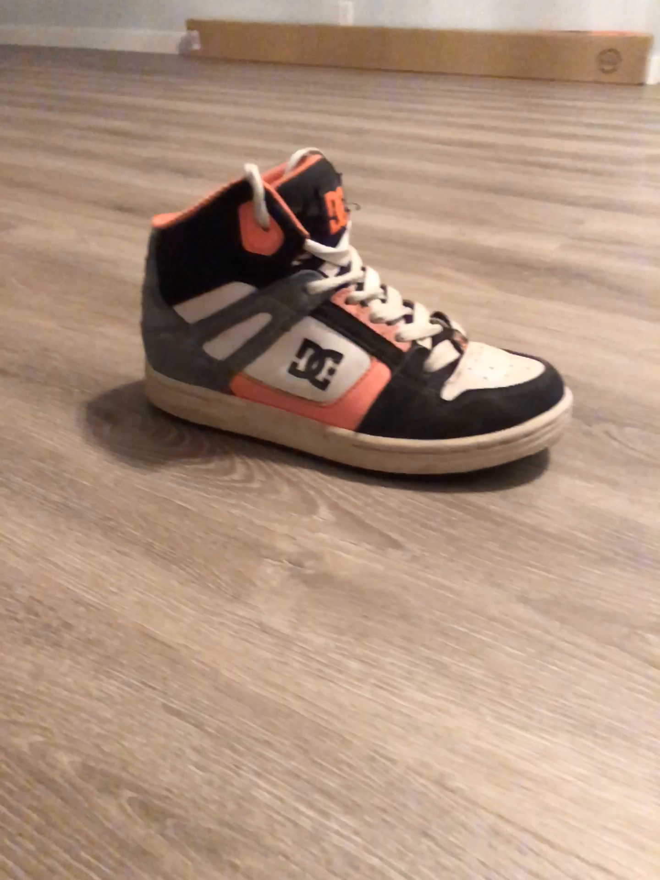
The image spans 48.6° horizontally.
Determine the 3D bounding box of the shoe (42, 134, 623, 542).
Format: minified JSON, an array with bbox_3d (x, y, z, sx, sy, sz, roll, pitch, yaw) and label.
[{"bbox_3d":[0.000,-0.060,0.356,0.240,0.139,0.090,12,31,17],"label":"shoe"}]
